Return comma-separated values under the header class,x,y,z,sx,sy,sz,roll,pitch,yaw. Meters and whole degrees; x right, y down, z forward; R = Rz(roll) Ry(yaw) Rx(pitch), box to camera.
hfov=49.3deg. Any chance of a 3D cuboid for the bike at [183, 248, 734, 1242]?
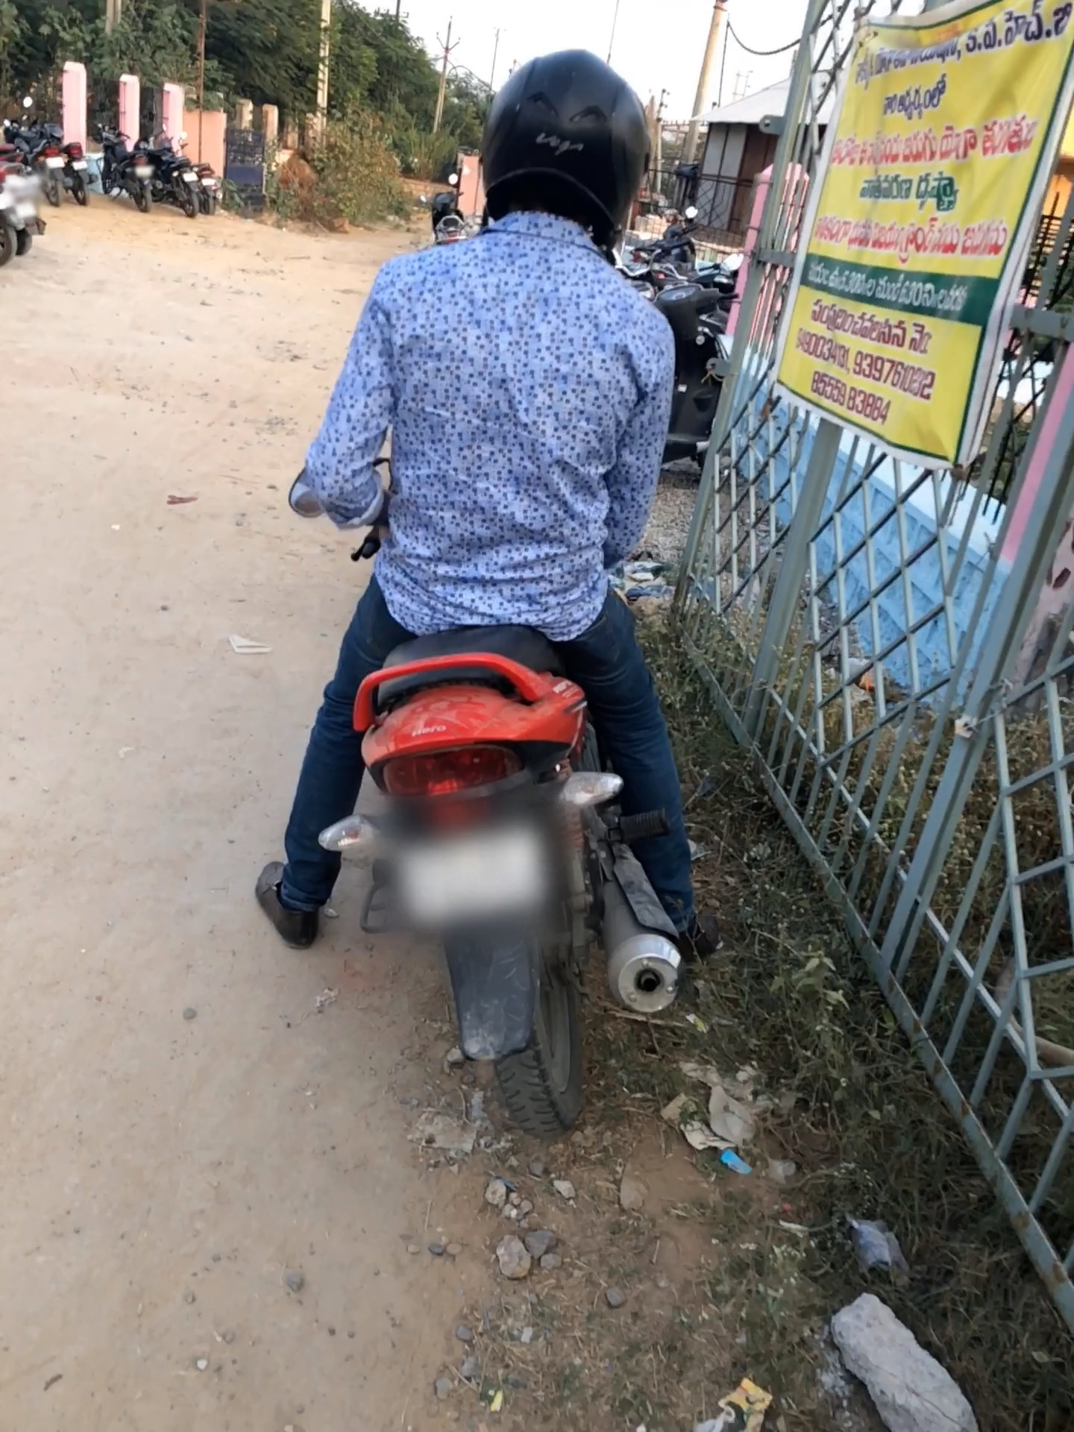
class,x,y,z,sx,sy,sz,roll,pitch,yaw
bike,-0.276,-0.139,2.289,0.582,1.176,1.697,5,26,-11
